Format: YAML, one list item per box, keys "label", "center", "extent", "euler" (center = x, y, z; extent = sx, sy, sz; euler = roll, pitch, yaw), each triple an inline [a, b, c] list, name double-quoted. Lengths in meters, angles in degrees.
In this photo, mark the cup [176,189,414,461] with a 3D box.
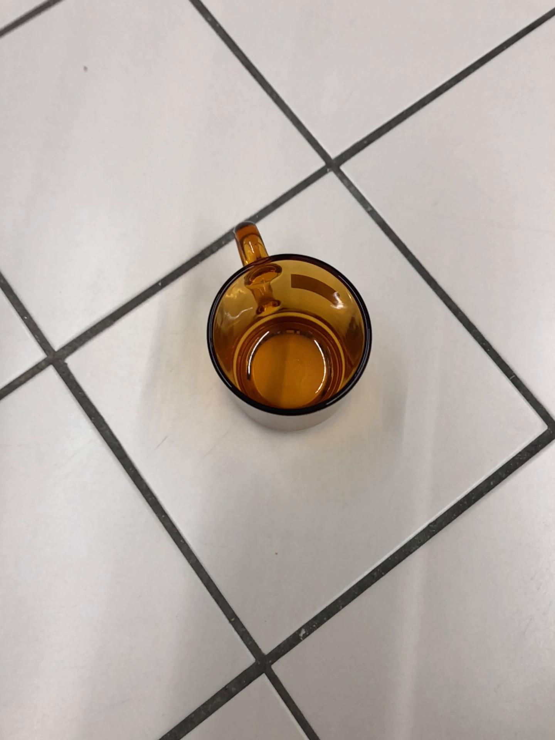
- label: "cup"
  center: [0.006, -0.016, 0.301]
  extent: [0.074, 0.082, 0.096]
  euler: [-18, 79, -3]
